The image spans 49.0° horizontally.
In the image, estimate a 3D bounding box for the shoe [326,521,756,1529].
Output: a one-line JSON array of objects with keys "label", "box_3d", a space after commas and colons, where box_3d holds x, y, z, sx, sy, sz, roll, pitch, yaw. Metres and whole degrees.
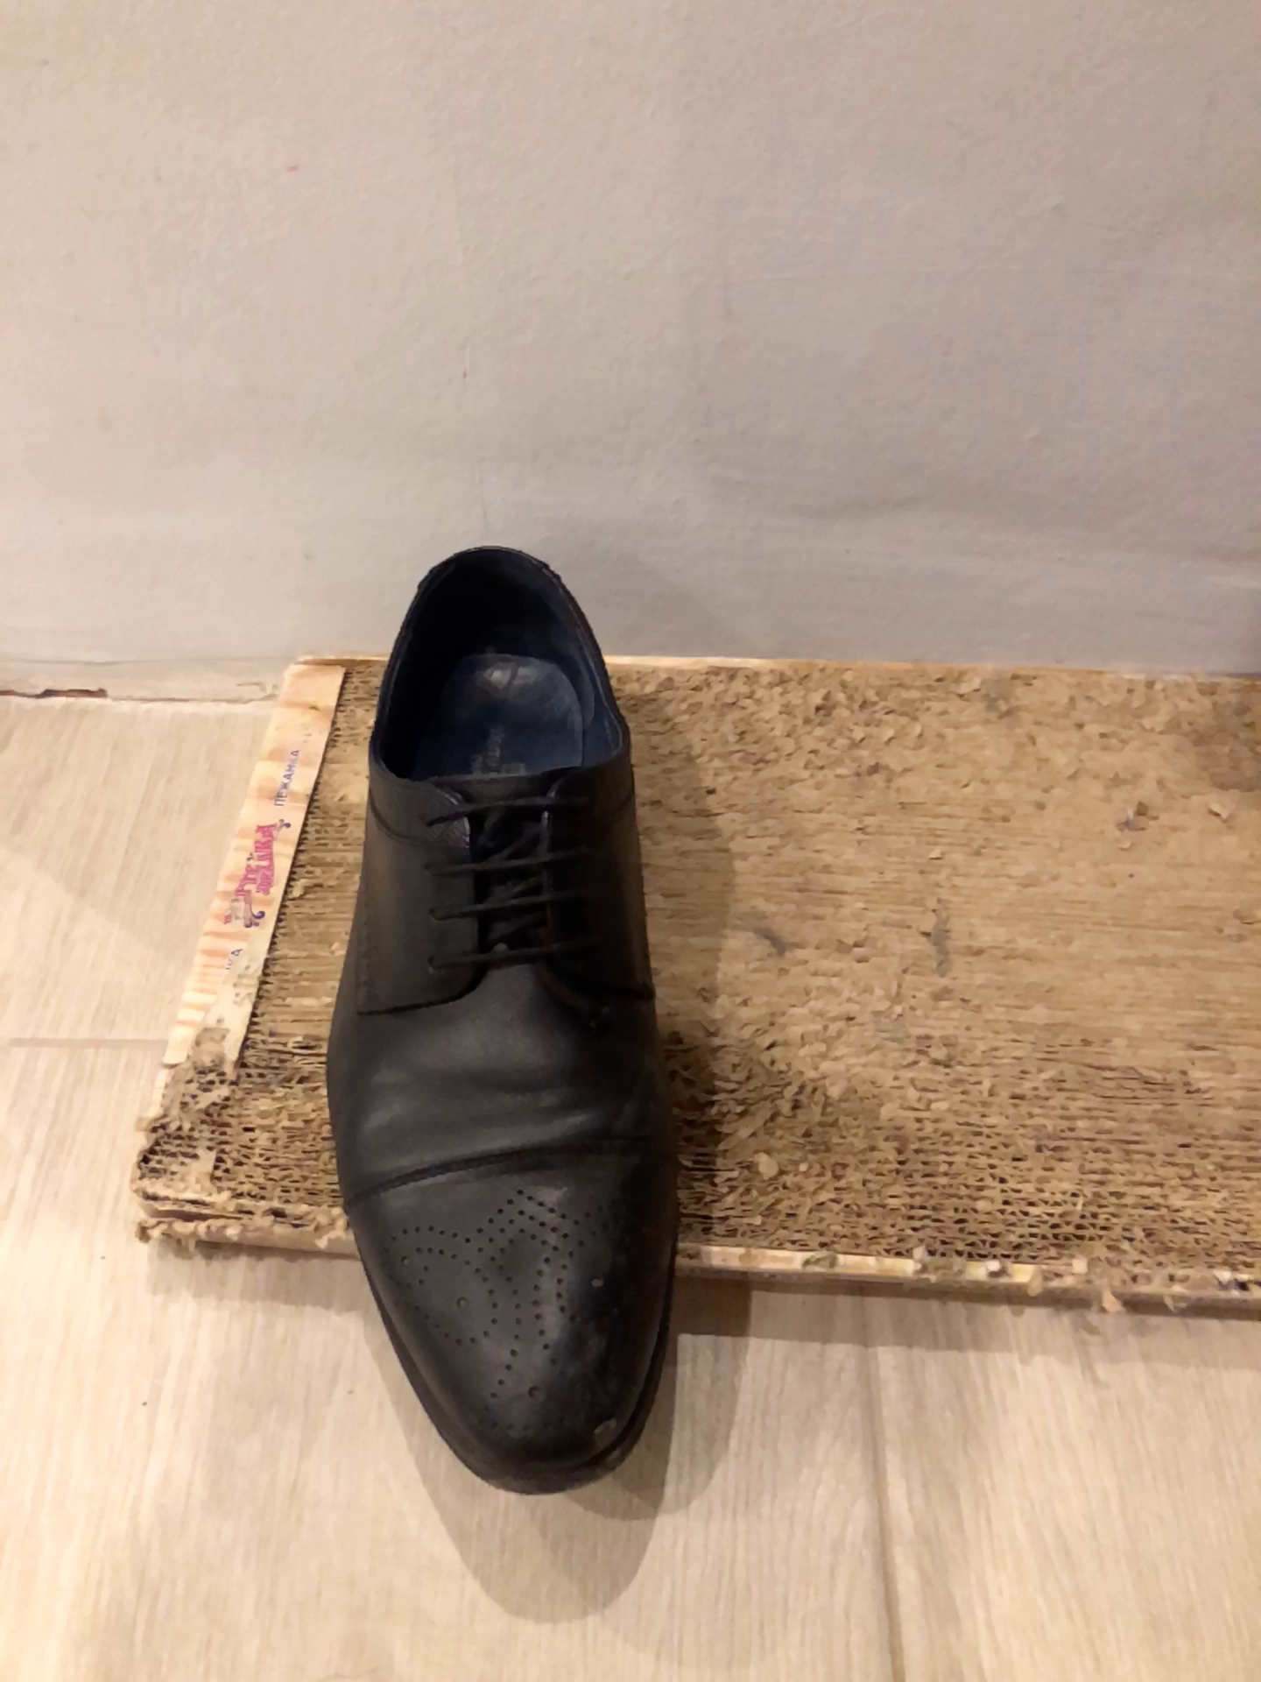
[{"label": "shoe", "box_3d": [-0.032, 0.037, 0.414, 0.090, 0.099, 0.282, -5, 52, -3]}]
